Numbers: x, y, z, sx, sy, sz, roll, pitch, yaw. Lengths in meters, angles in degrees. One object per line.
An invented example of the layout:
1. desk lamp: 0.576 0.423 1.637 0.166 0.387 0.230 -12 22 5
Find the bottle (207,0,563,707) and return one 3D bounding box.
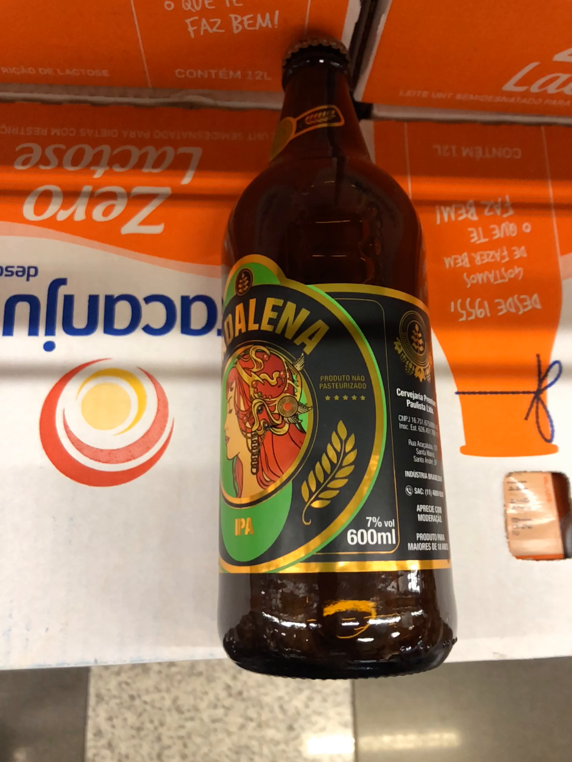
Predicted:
1. bottle: 0.023 -0.040 0.242 0.100 0.060 0.280 0 75 -5
